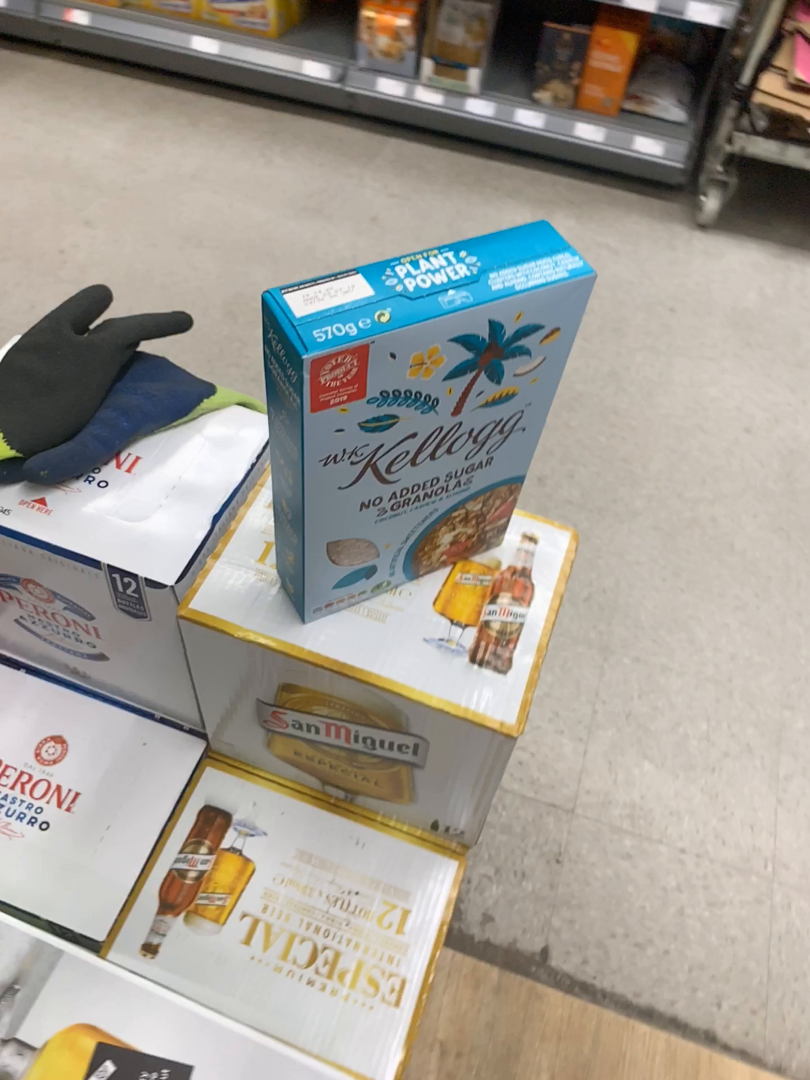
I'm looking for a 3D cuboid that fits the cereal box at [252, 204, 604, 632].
[{"bbox_3d":[0.002,-0.055,0.488,0.160,0.248,0.050,-21,61,-20],"label":"cereal box"}]
